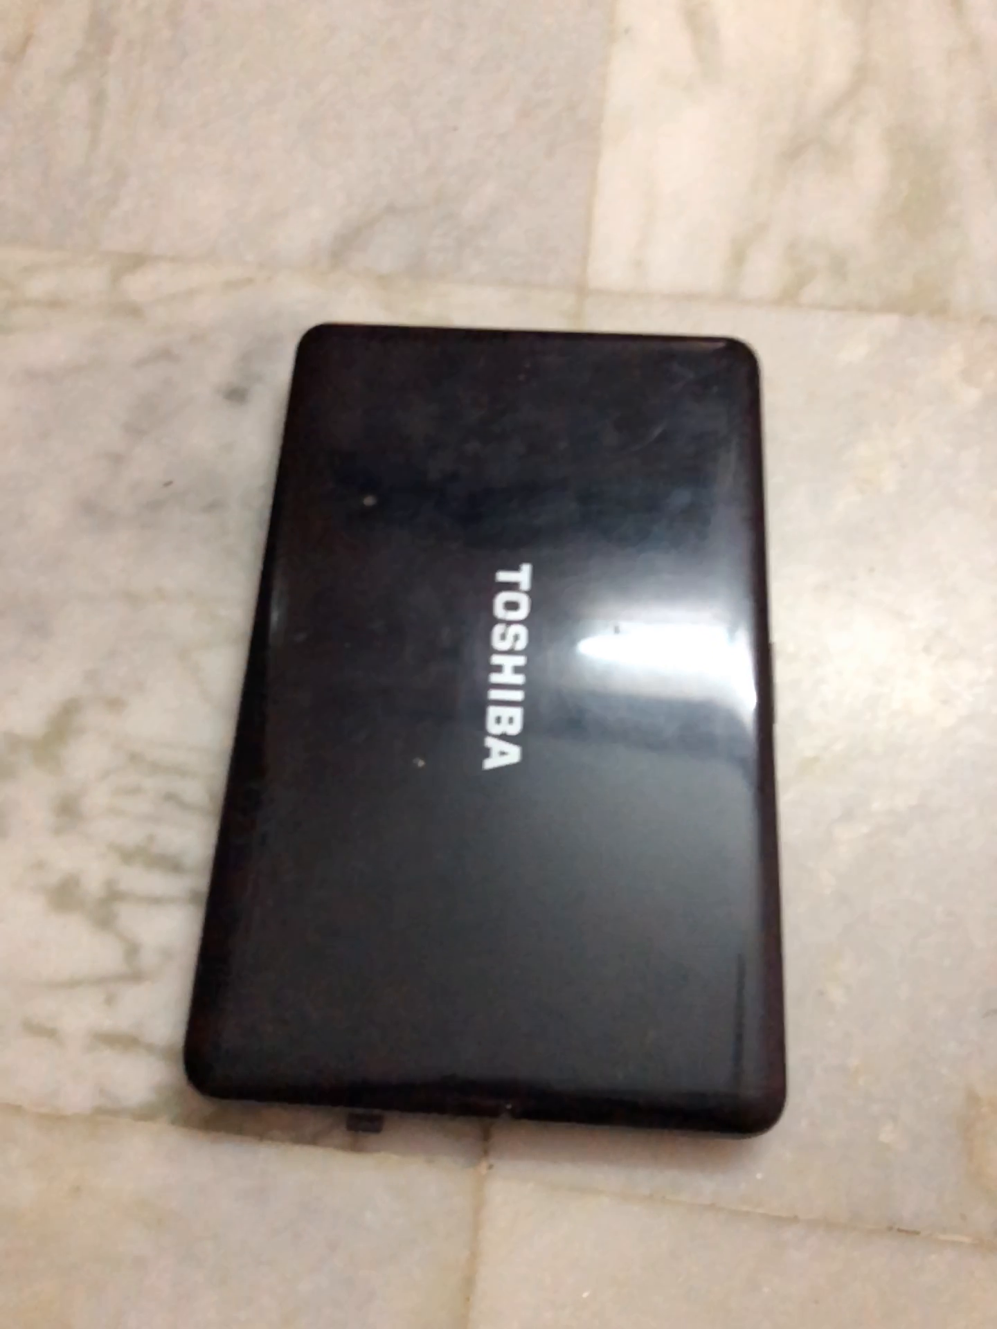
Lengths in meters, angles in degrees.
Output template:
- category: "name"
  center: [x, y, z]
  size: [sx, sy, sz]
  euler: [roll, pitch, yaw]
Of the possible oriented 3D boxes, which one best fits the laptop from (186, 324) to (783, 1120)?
- category: "laptop"
  center: [0.005, -0.001, 0.487]
  size: [0.224, 0.004, 0.360]
  euler: [3, 67, 2]
